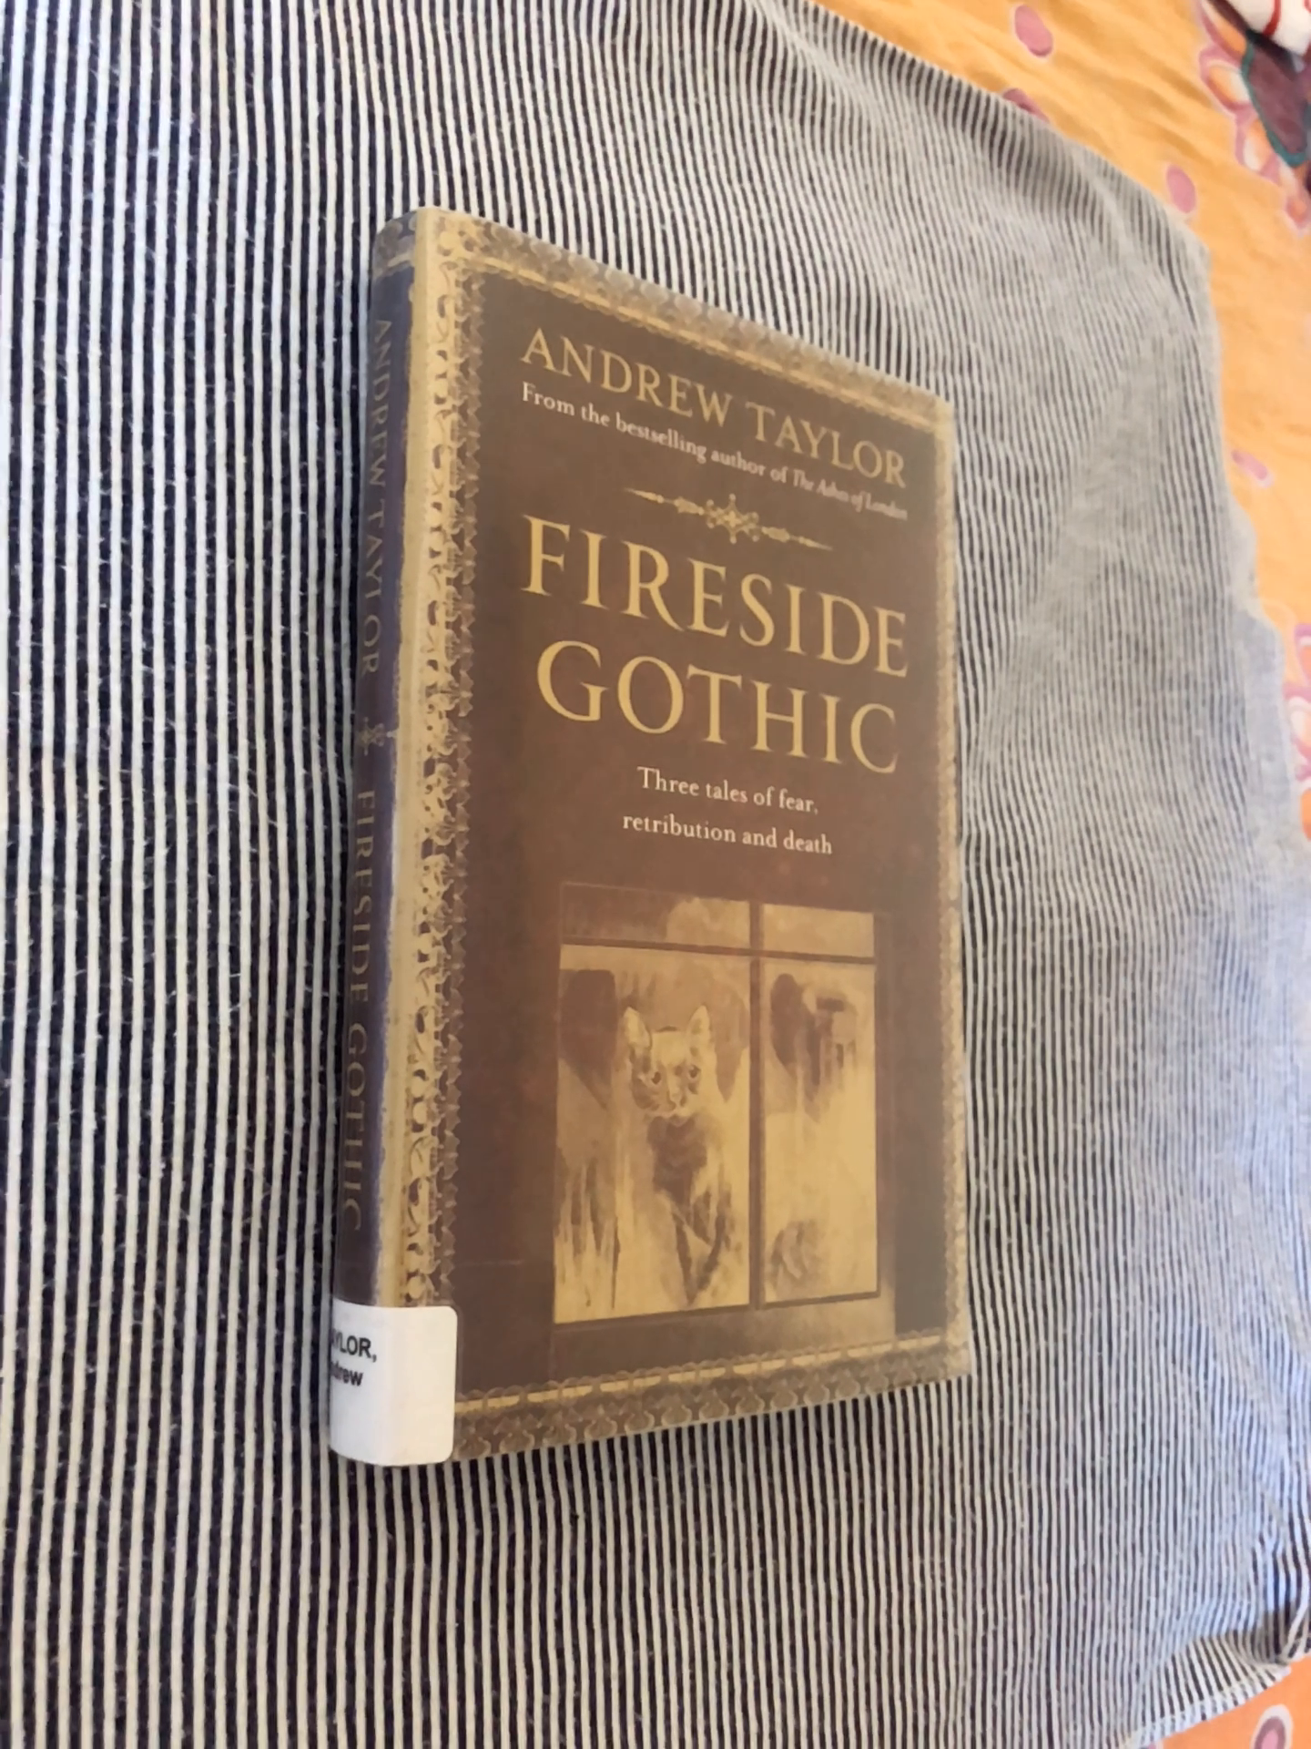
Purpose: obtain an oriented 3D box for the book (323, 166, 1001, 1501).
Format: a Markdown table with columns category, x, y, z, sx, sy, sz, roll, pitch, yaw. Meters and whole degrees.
| category | x | y | z | sx | sy | sz | roll | pitch | yaw |
| --- | --- | --- | --- | --- | --- | --- | --- | --- | --- |
| book | 0.008 | -0.006 | 0.287 | 0.140 | 0.027 | 0.217 | 6 | 80 | -38 |
